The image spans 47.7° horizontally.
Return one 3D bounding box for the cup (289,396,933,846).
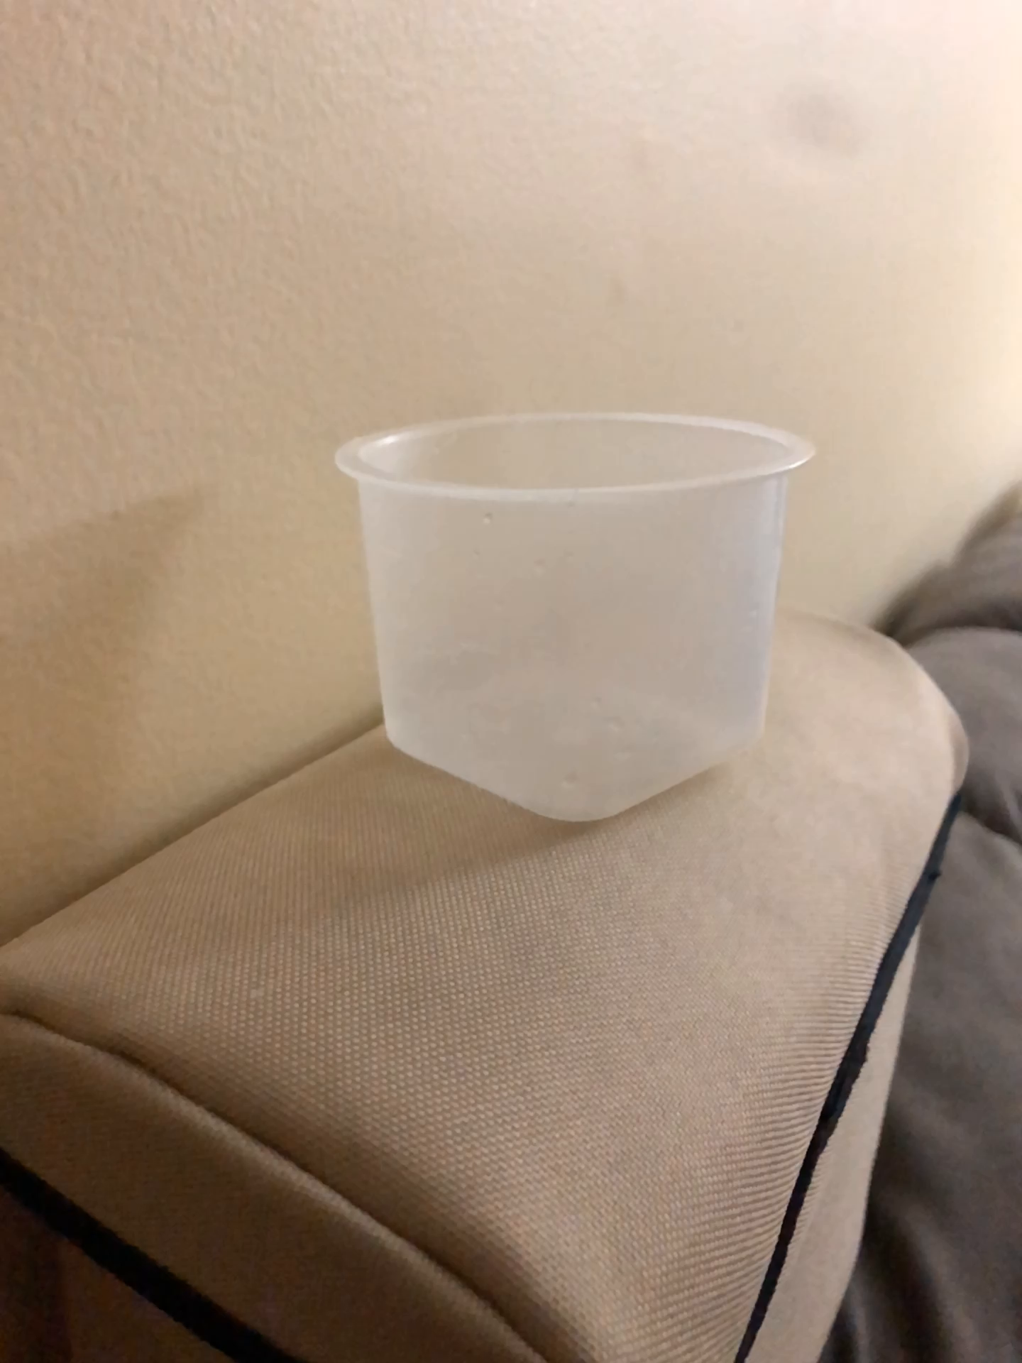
[{"bbox_3d":[0.017,-0.019,0.205,0.076,0.046,0.081,2,22,-1],"label":"cup"}]
